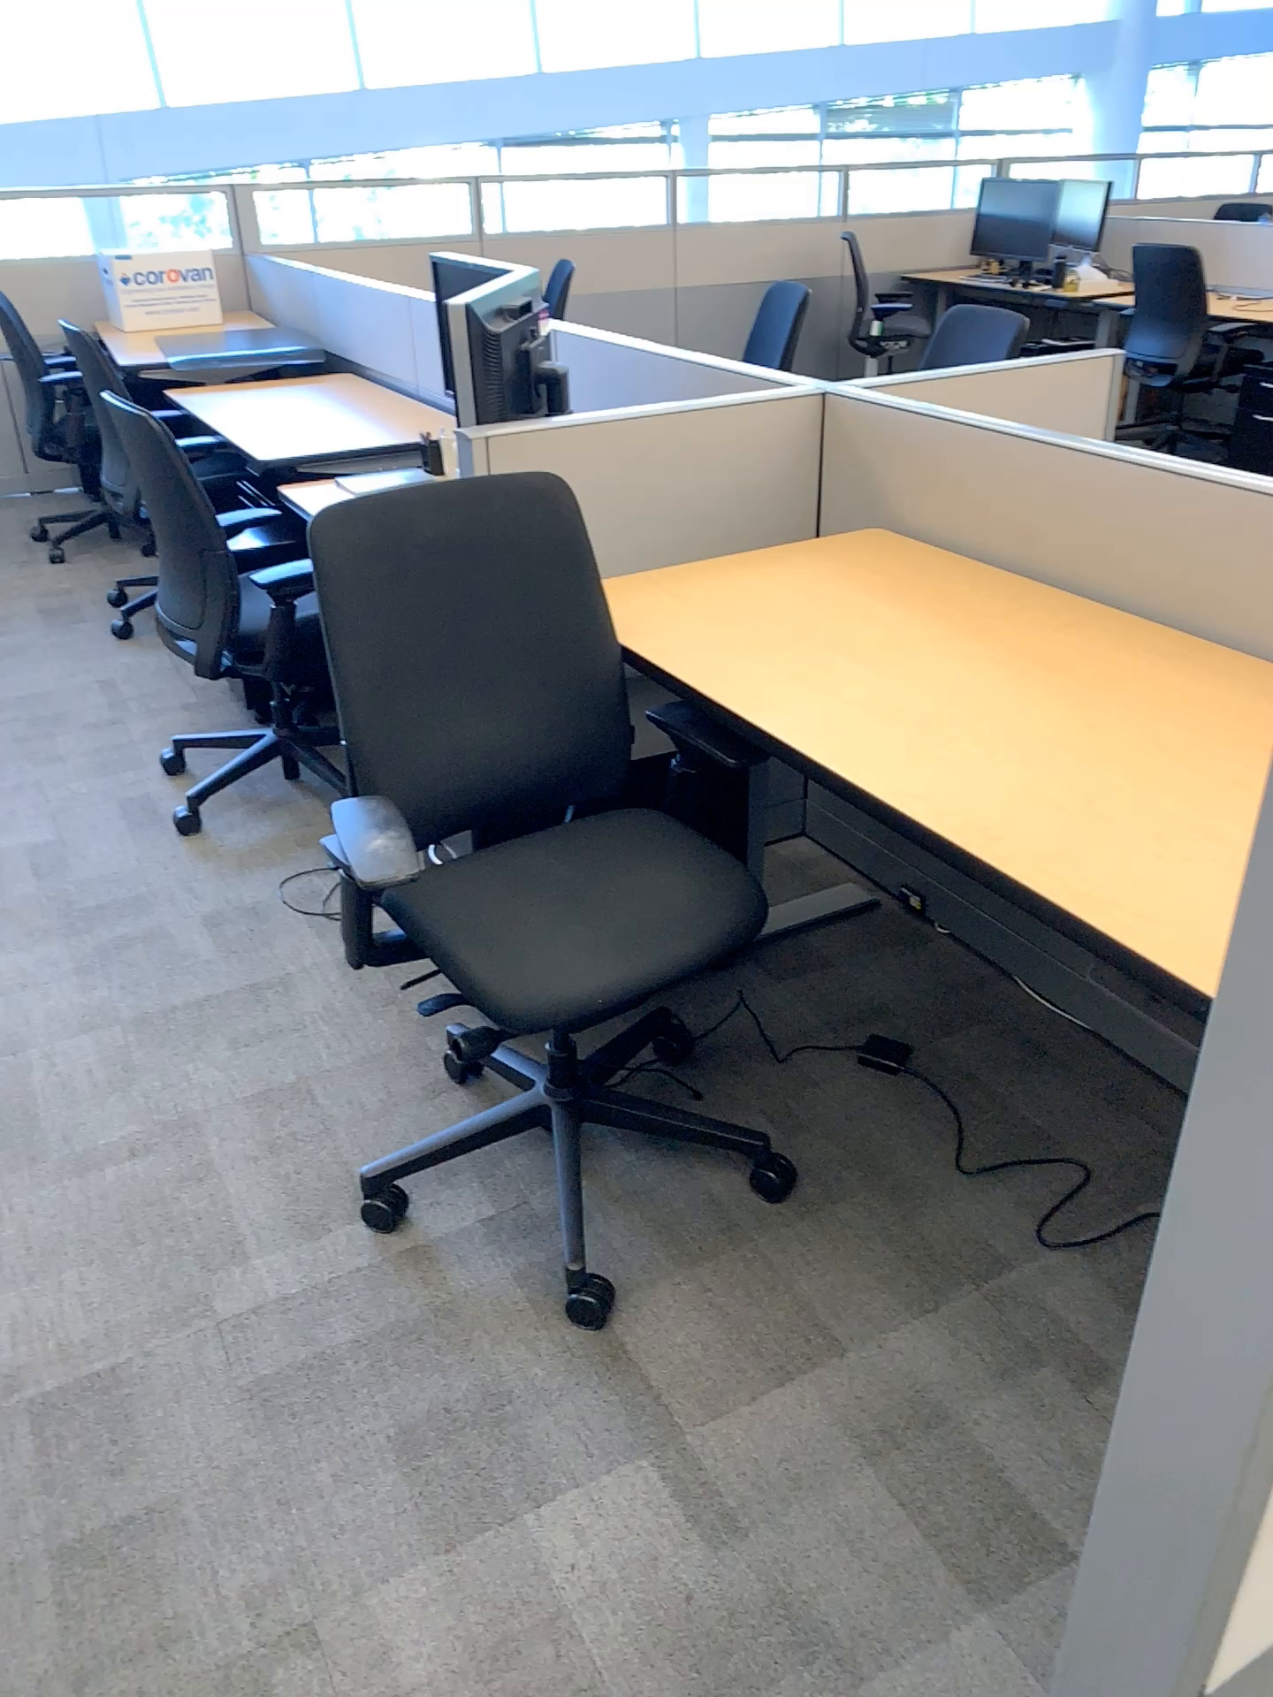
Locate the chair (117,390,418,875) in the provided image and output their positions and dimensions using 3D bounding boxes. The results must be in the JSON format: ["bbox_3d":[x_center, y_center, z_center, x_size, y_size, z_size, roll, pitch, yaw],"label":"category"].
[{"bbox_3d":[-0.890,-0.541,3.169,0.460,0.994,0.543,-14,31,-23],"label":"chair"}]

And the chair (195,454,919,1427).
[{"bbox_3d":[-0.137,0.058,1.826,0.630,0.994,0.764,-15,31,-24],"label":"chair"}]

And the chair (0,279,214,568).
[{"bbox_3d":[-2.140,-1.744,5.286,0.600,0.994,0.563,-10,30,-17],"label":"chair"}]

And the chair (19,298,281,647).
[{"bbox_3d":[-1.630,-1.283,4.376,0.580,0.994,0.523,-15,31,-24],"label":"chair"}]
